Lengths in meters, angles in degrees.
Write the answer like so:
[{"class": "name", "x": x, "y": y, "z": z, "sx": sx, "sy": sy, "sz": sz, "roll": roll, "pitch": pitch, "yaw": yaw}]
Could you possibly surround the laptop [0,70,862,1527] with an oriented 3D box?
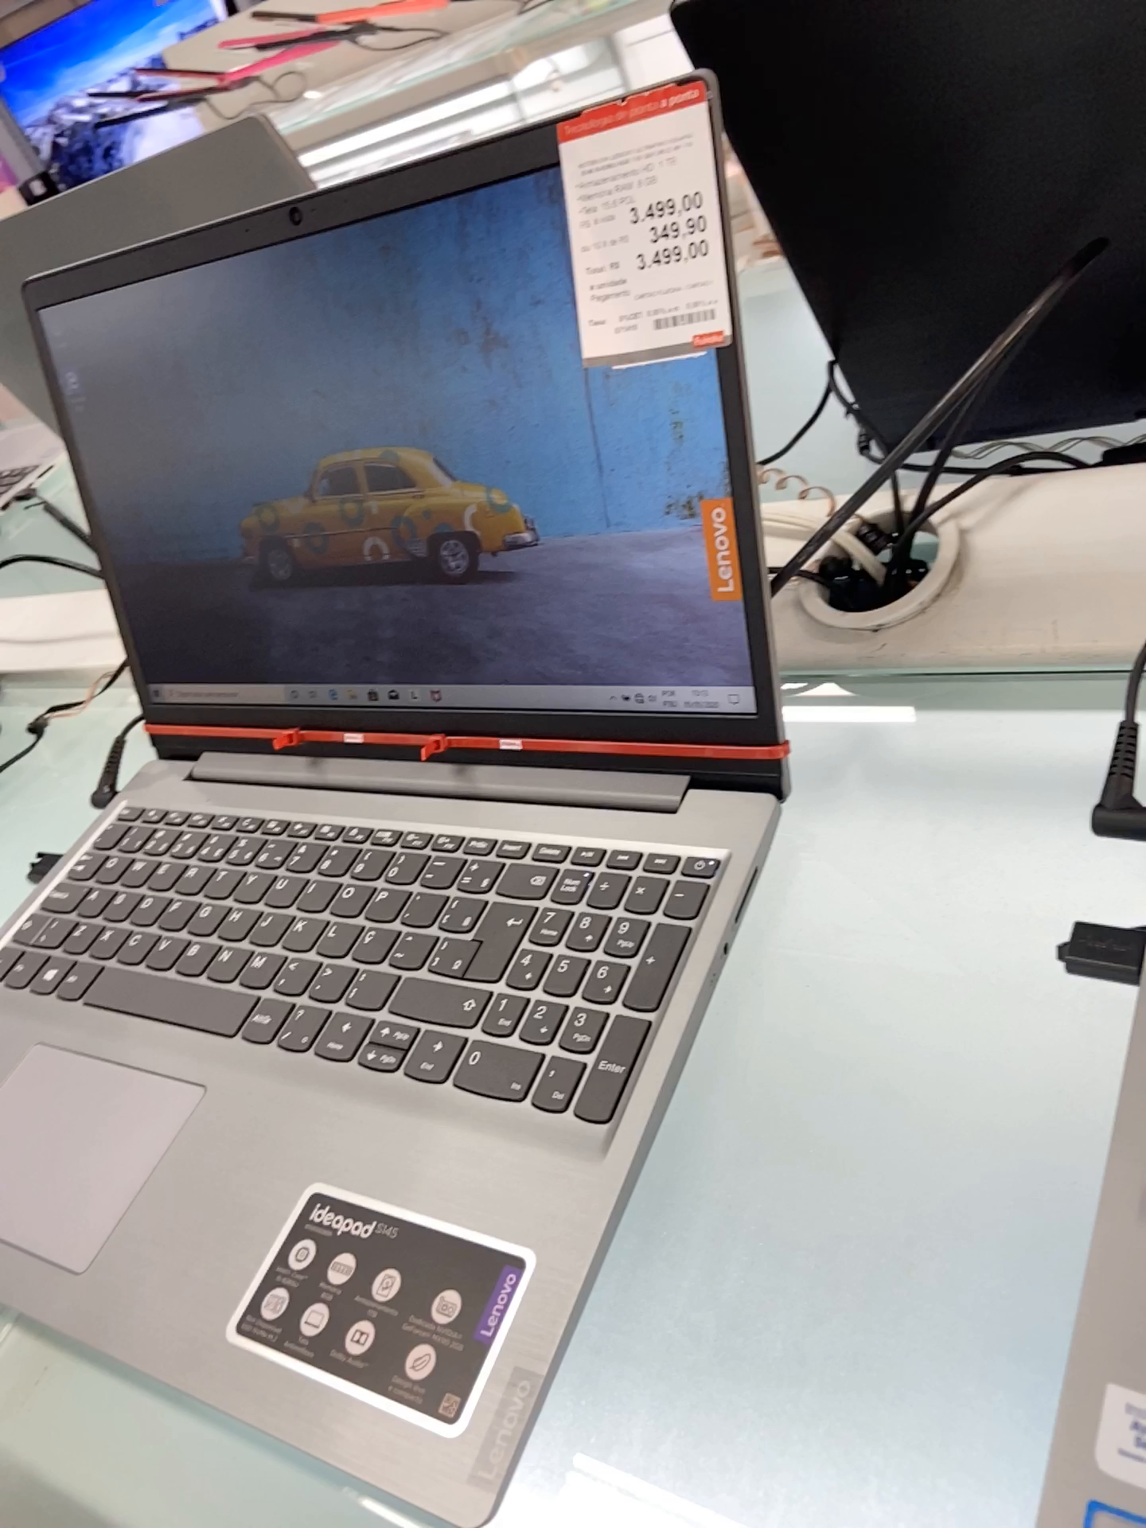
[{"class": "laptop", "x": -0.144, "y": -0.019, "z": 0.426, "sx": 0.365, "sy": 0.214, "sz": 0.353, "roll": 2, "pitch": 46, "yaw": 33}]
